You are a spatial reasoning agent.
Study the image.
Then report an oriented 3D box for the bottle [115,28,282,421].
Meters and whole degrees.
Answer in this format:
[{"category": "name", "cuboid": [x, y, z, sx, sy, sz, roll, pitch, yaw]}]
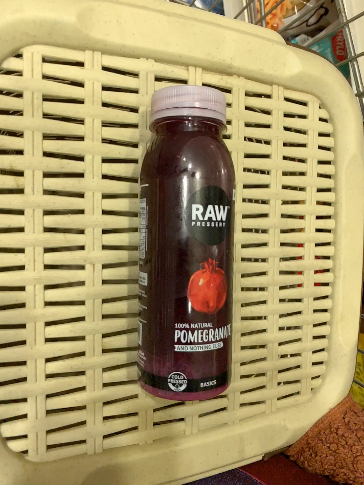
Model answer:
[{"category": "bottle", "cuboid": [0.005, -0.006, 0.189, 0.060, 0.050, 0.160, 1, 94, -26]}]
